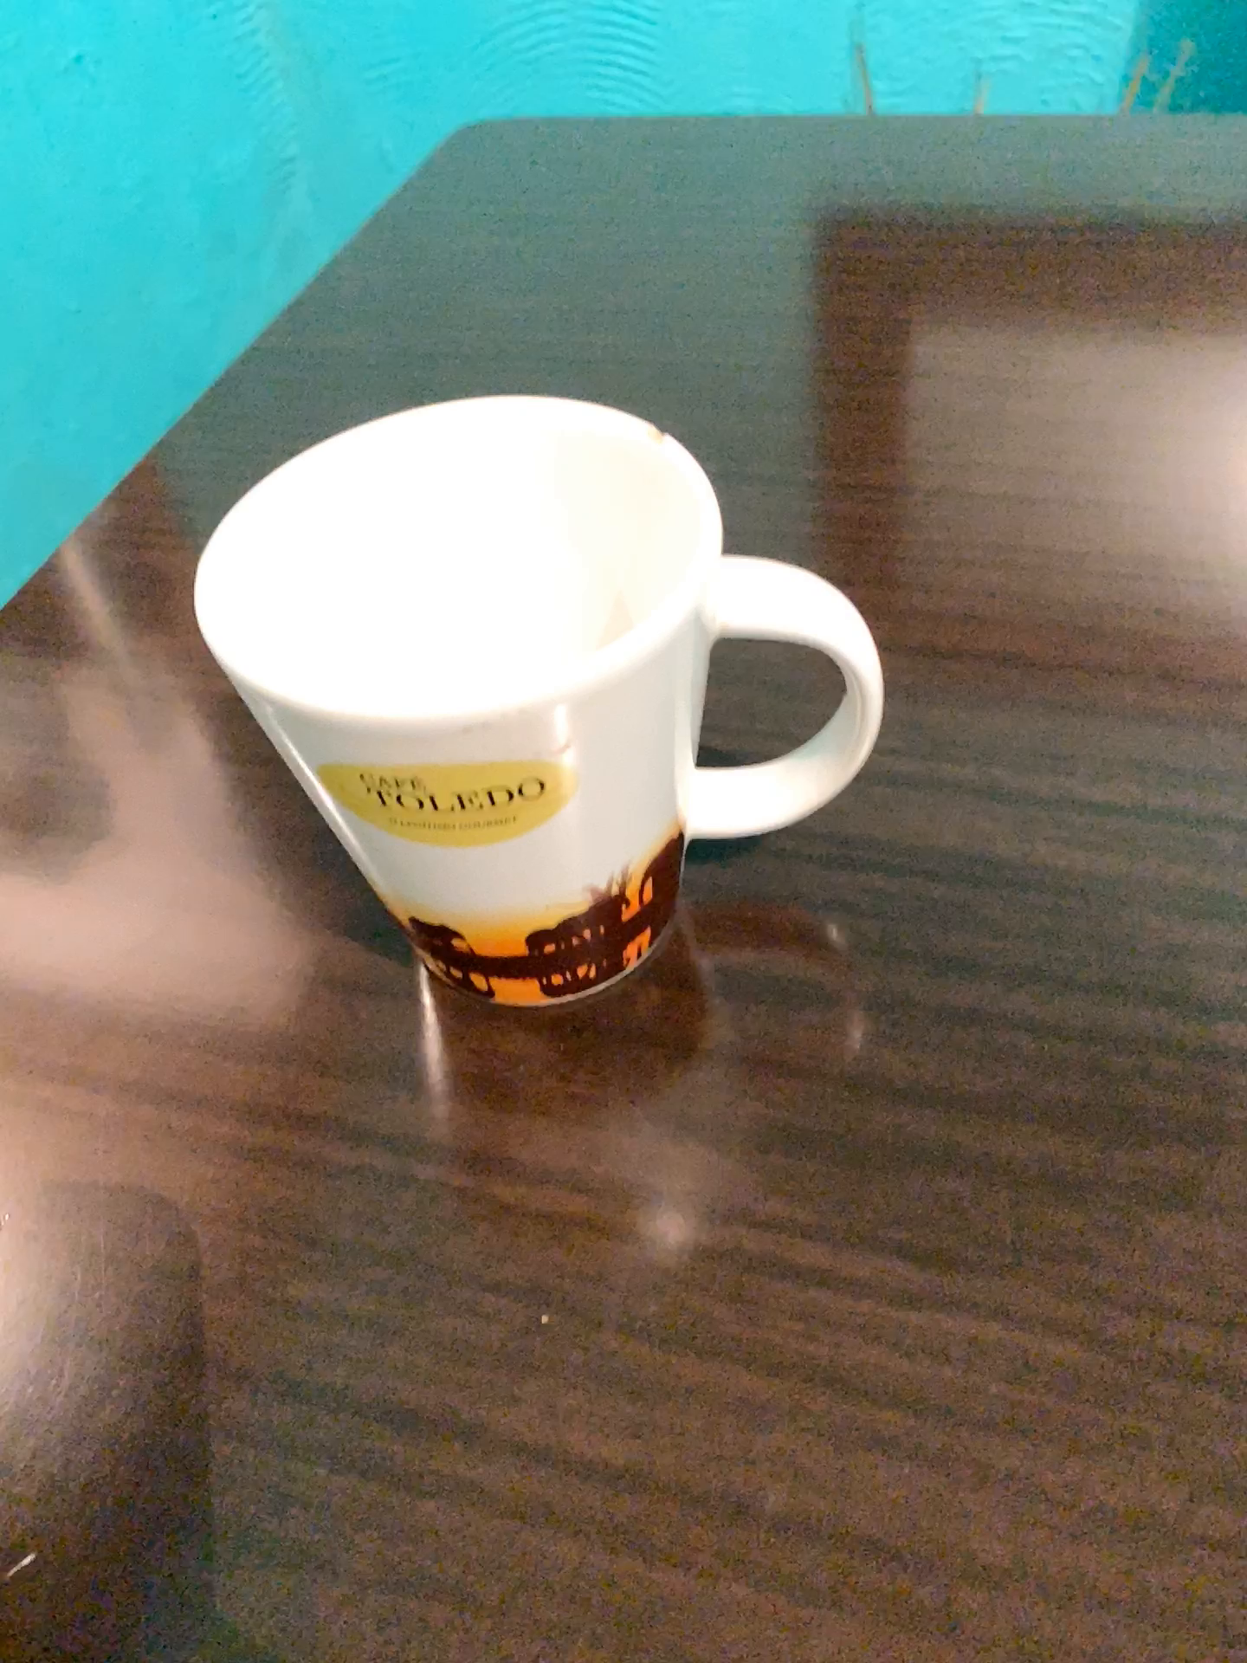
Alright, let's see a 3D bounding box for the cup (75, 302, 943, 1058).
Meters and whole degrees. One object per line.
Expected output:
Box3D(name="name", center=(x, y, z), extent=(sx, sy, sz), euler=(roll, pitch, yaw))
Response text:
Box3D(name="cup", center=(-0.013, -0.026, 0.223), extent=(0.110, 0.080, 0.090), euler=(-5, 47, 3))
